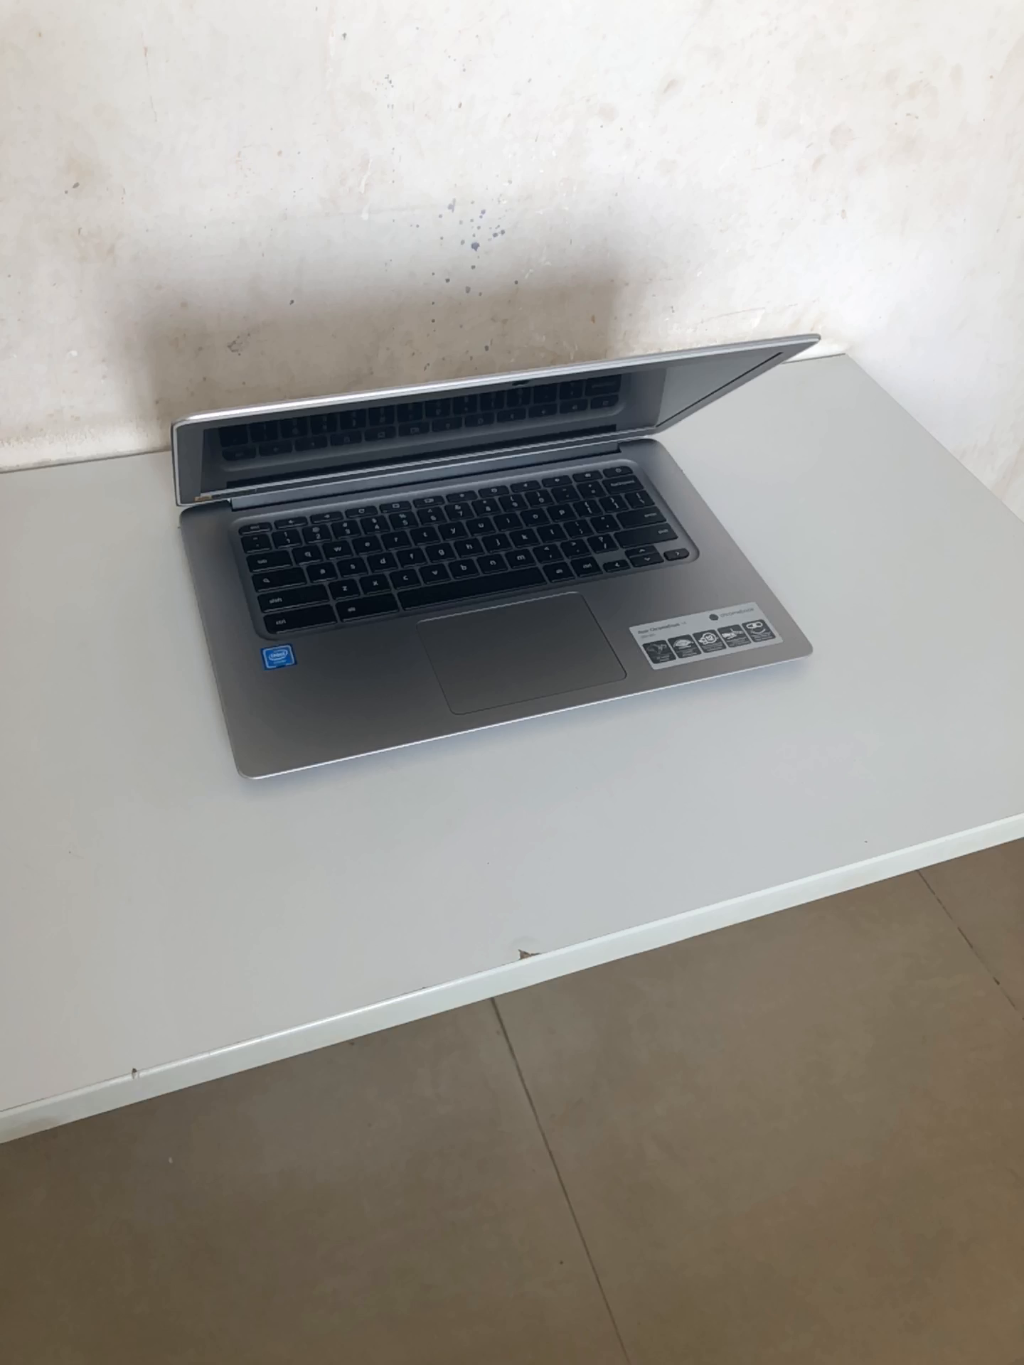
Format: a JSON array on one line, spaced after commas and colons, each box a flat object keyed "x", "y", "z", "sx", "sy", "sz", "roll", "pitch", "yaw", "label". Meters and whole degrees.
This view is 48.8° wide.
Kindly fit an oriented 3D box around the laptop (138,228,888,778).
[{"x": -0.013, "y": -0.115, "z": 0.626, "sx": 0.326, "sy": 0.155, "sz": 0.223, "roll": -12, "pitch": 48, "yaw": -16, "label": "laptop"}]
